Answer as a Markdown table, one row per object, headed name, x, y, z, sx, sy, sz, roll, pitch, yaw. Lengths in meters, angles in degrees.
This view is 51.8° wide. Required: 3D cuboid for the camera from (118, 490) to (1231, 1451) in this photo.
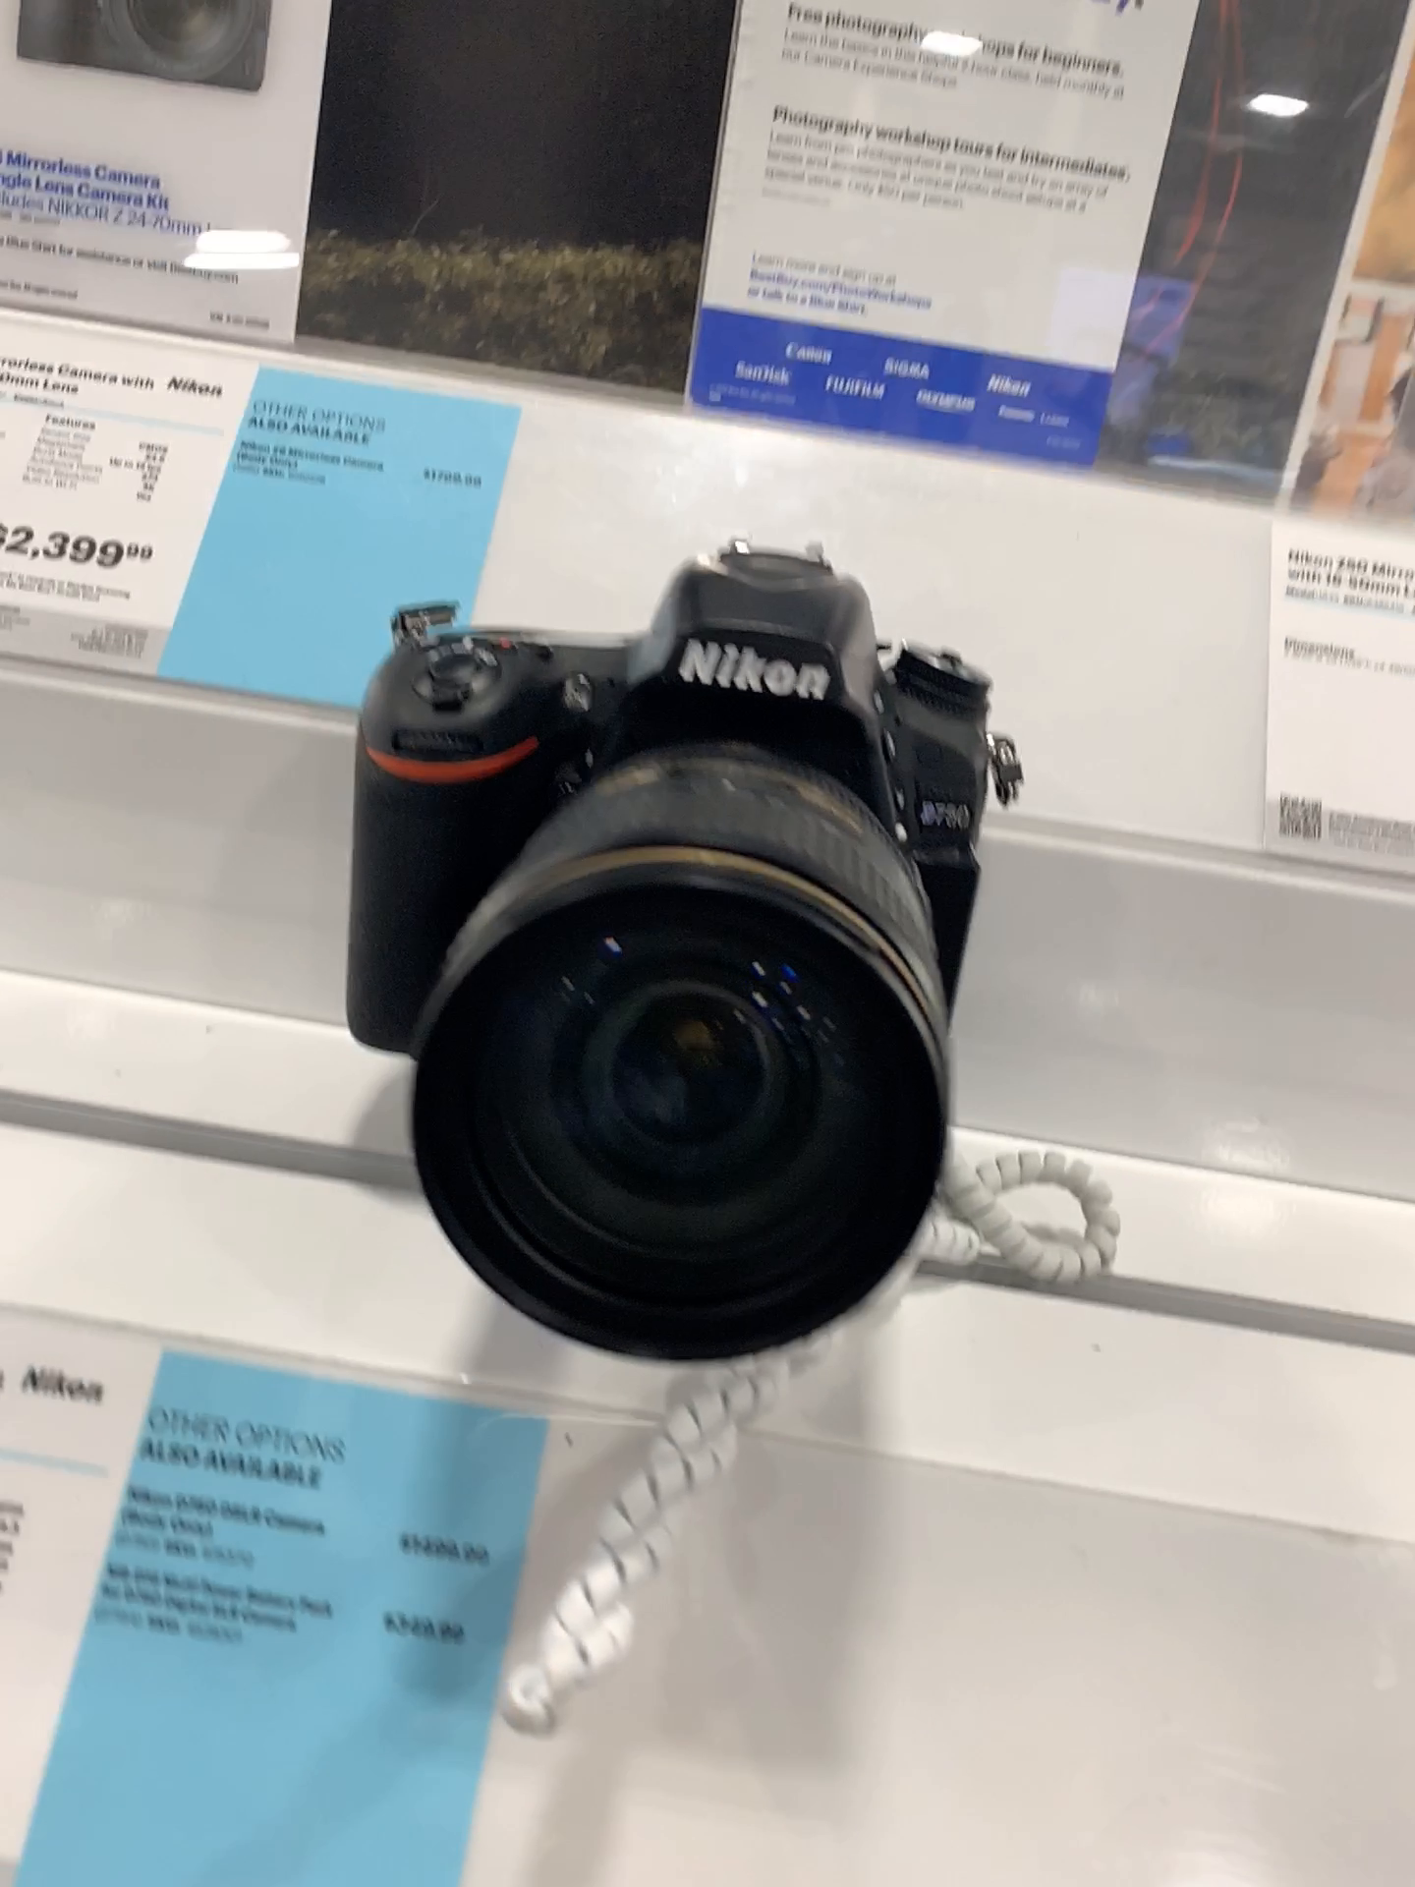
| name | x | y | z | sx | sy | sz | roll | pitch | yaw |
| --- | --- | --- | --- | --- | --- | --- | --- | --- | --- |
| camera | -0.010 | -0.015 | 0.285 | 0.140 | 0.111 | 0.181 | 7 | 21 | -3 |
